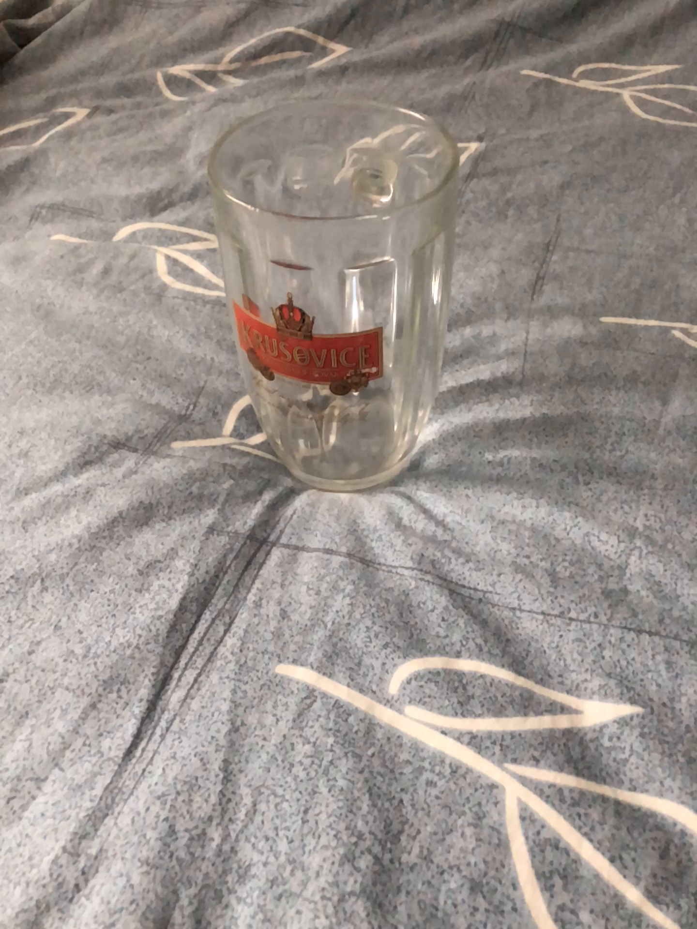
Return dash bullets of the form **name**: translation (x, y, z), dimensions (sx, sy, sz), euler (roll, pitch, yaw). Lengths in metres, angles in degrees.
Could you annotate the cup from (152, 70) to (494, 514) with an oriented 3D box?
- **cup**: translation (0.001, -0.079, 0.342), dimensions (0.091, 0.136, 0.128), euler (12, 46, 17)
